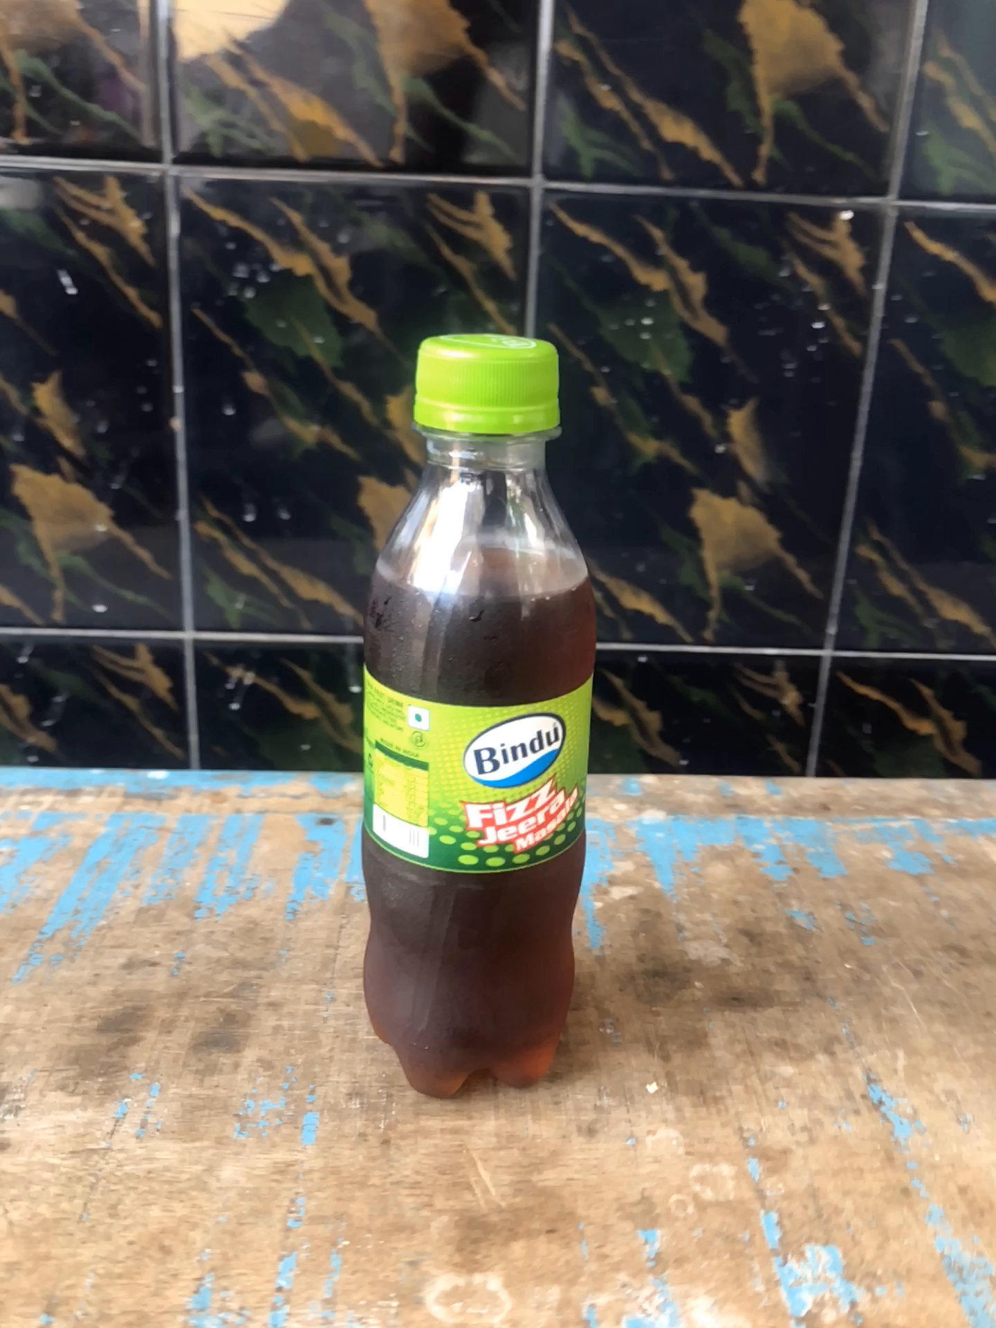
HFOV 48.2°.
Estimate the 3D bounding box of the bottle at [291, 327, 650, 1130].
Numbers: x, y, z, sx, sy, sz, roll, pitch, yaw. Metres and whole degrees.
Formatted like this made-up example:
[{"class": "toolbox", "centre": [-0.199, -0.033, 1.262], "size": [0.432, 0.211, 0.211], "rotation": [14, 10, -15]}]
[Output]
[{"class": "bottle", "centre": [-0.012, 0.013, 0.273], "size": [0.060, 0.179, 0.060], "rotation": [2, 19, -1]}]
